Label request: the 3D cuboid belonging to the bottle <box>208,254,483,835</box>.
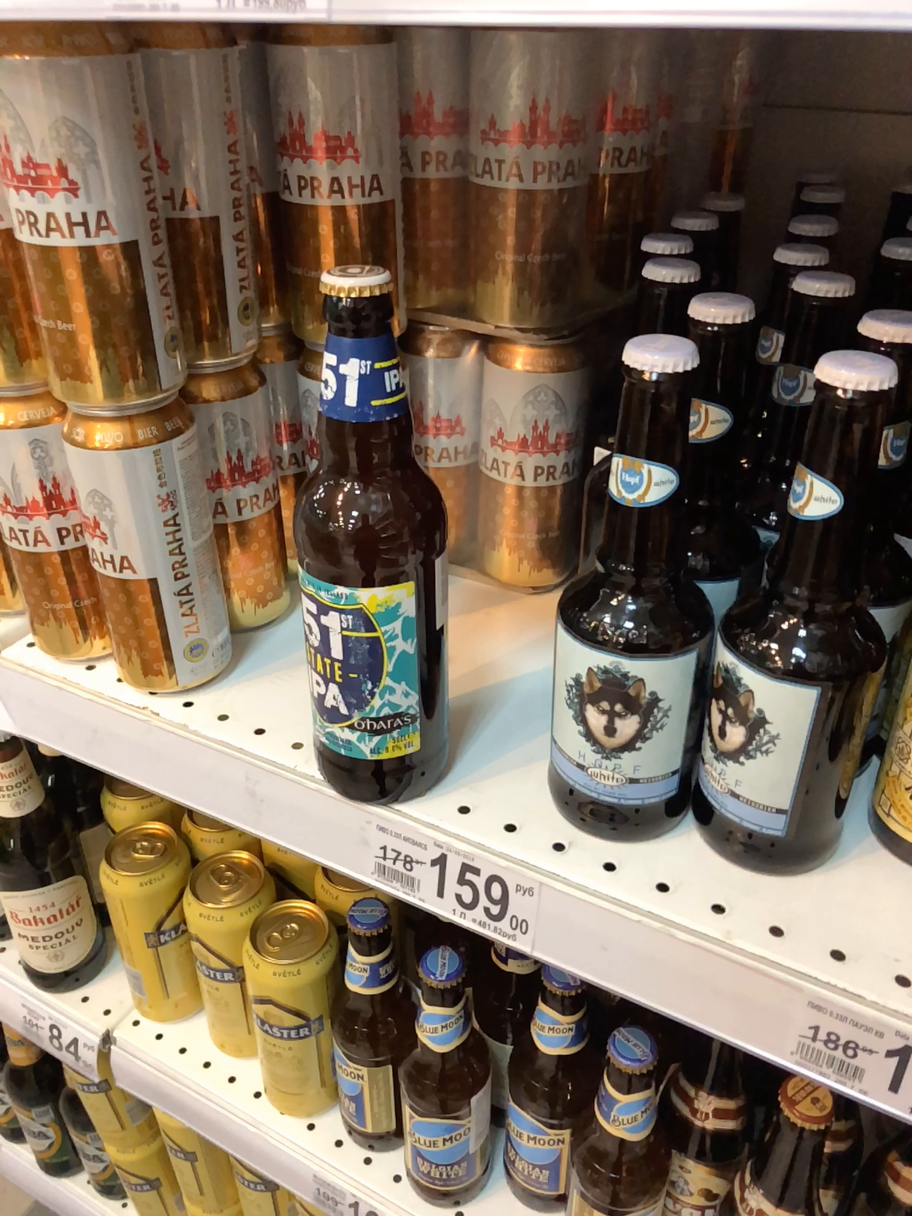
[{"bbox_3d":[-0.043,-0.024,0.451,0.080,0.239,0.070,22,37,31],"label":"bottle"}]
